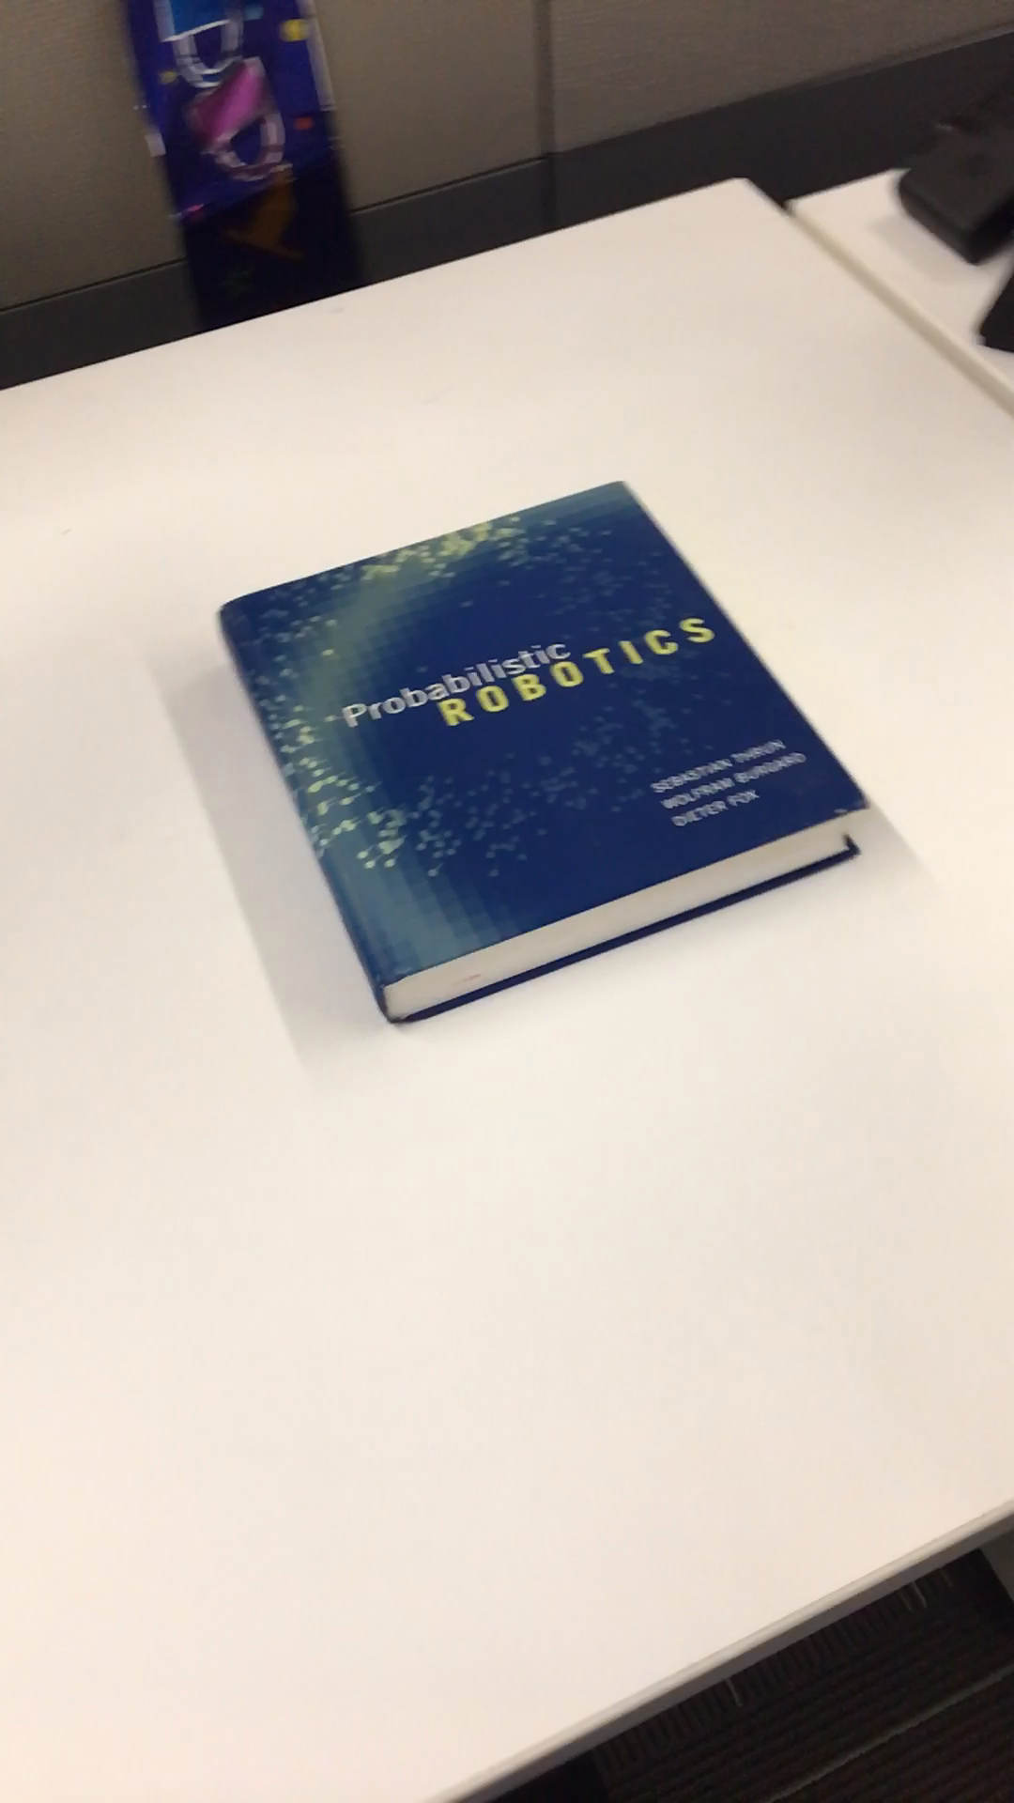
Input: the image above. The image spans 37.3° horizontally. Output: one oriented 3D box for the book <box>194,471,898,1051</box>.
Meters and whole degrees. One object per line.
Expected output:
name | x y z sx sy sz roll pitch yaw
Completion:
book | 0.006 -0.076 0.648 0.220 0.030 0.240 -20 54 -11
